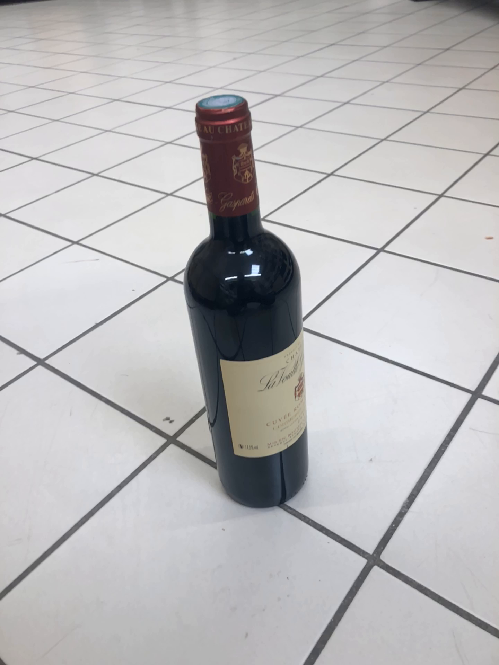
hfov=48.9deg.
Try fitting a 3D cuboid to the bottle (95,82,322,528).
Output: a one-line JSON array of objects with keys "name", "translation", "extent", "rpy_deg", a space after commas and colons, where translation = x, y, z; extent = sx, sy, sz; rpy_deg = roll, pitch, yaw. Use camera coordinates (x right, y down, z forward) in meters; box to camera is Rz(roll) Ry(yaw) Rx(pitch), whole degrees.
[{"name": "bottle", "translation": [-0.007, -0.002, 0.366], "extent": [0.090, 0.288, 0.081], "rpy_deg": [11, 39, 21]}]
